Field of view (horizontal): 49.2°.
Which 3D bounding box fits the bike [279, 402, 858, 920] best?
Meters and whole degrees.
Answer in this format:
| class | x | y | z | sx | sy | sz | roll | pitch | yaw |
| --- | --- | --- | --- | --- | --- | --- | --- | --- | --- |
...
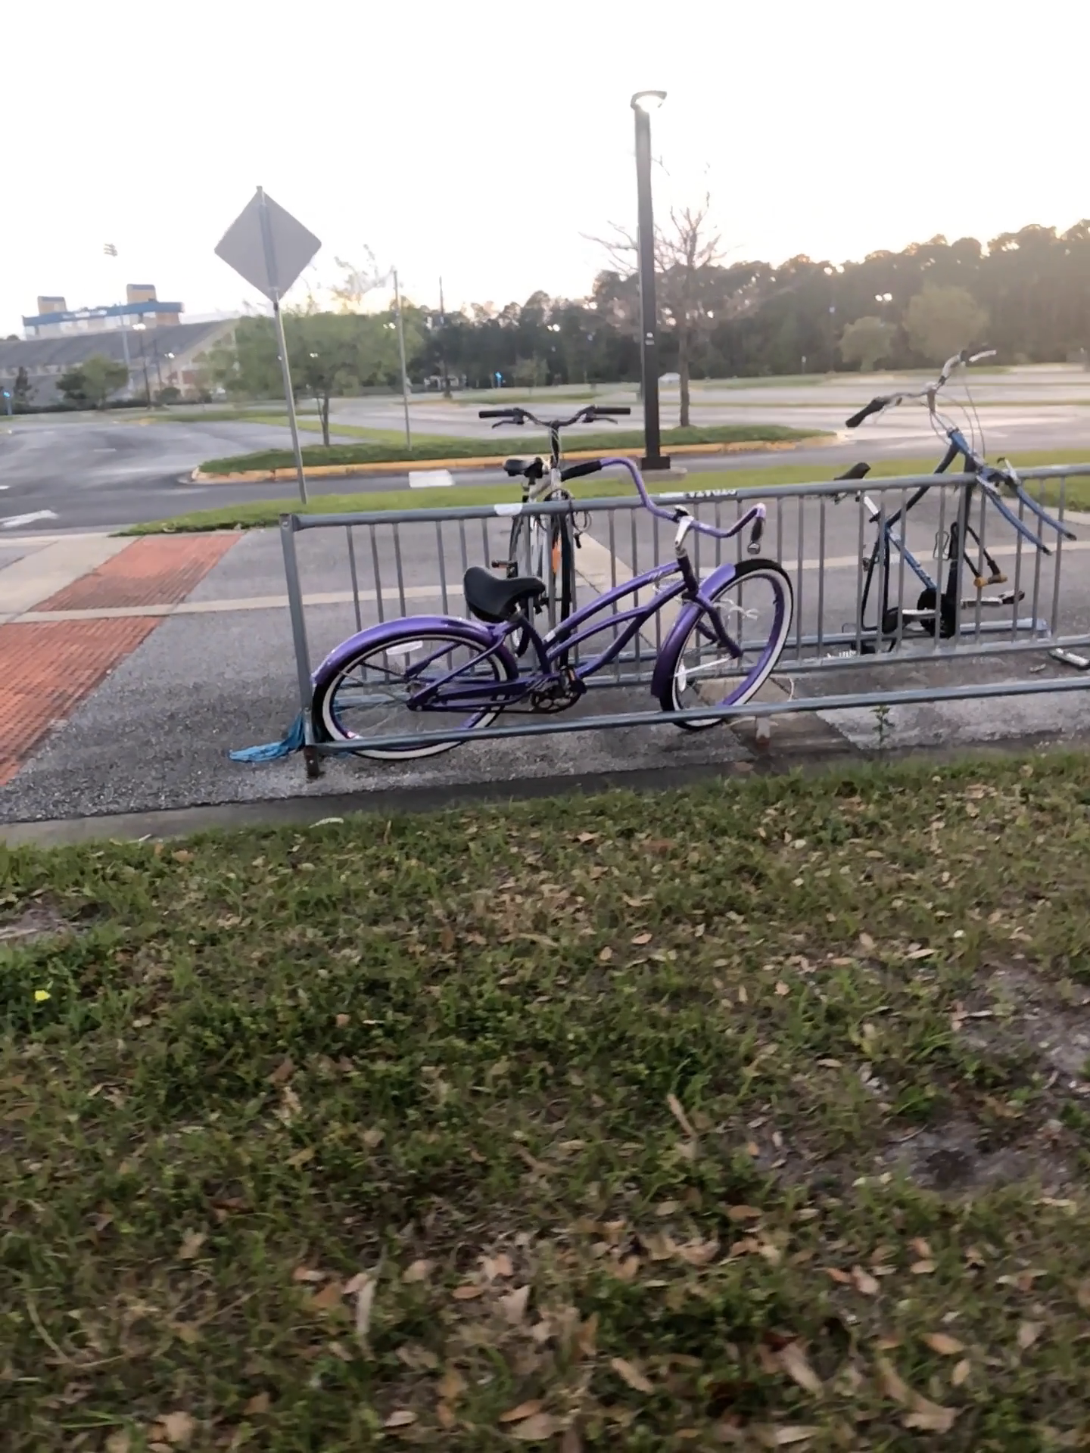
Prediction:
| class | x | y | z | sx | sy | sz | roll | pitch | yaw |
| --- | --- | --- | --- | --- | --- | --- | --- | --- | --- |
| bike | 0.089 | -0.320 | 3.787 | 1.701 | 1.118 | 0.852 | -12 | 17 | -15 |
